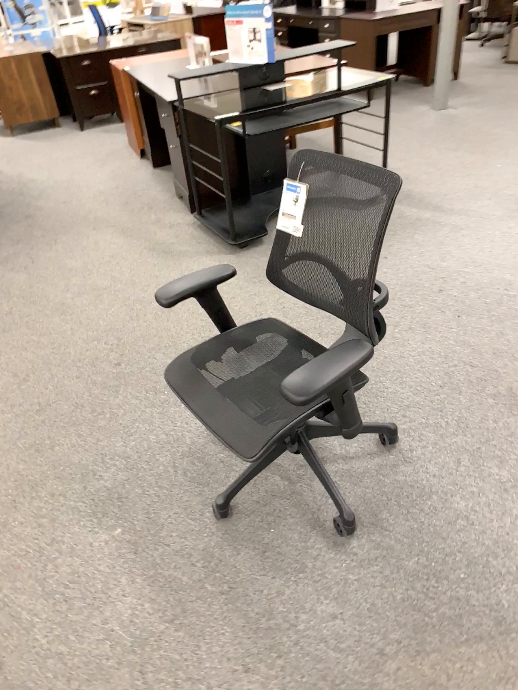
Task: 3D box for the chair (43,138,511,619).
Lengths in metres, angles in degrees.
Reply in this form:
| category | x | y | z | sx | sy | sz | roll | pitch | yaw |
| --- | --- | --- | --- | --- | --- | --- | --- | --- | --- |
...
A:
| category | x | y | z | sx | sy | sz | roll | pitch | yaw |
| --- | --- | --- | --- | --- | --- | --- | --- | --- | --- |
| chair | 0.058 | 0.004 | 1.443 | 0.761 | 0.805 | 0.763 | -32 | 43 | -30 |
